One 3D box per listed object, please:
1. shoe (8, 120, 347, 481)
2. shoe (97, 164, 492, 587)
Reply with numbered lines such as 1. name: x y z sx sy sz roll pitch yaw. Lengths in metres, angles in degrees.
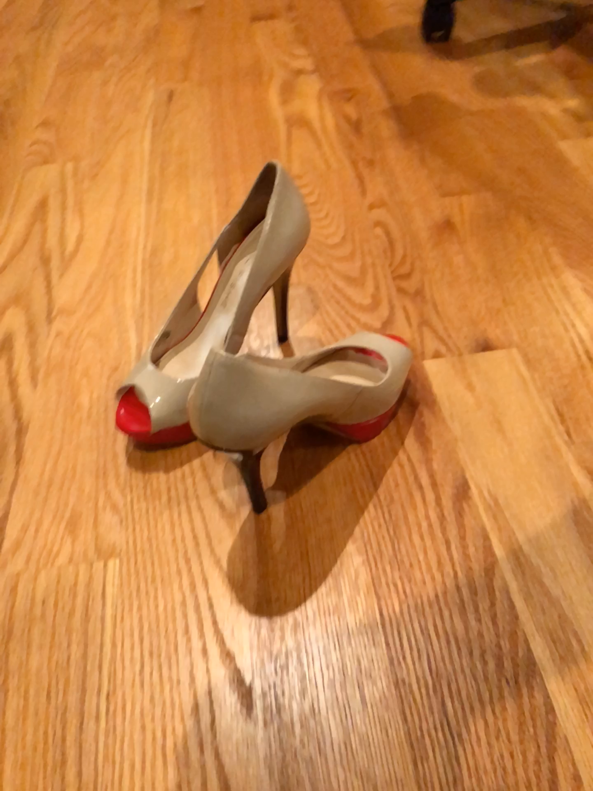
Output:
1. shoe: -0.064 -0.075 0.475 0.080 0.149 0.221 28 56 29
2. shoe: 0.014 -0.020 0.387 0.085 0.129 0.216 30 57 30
